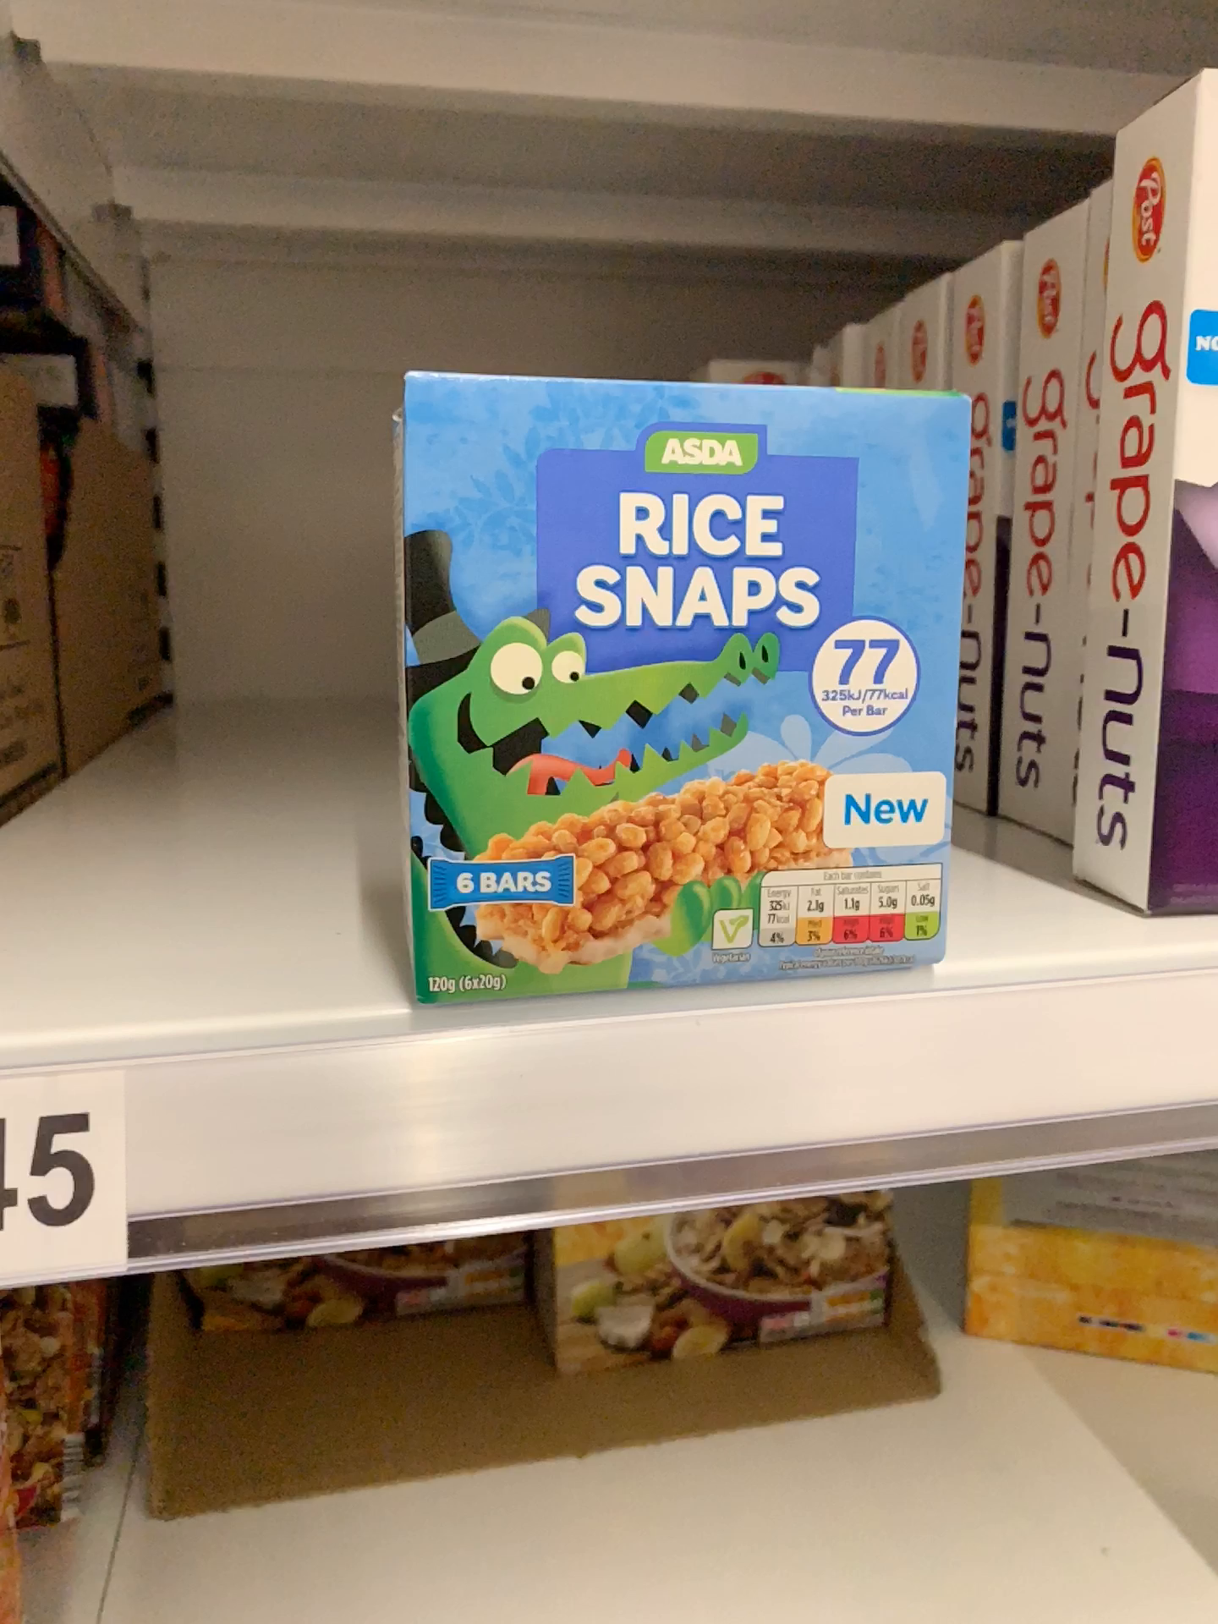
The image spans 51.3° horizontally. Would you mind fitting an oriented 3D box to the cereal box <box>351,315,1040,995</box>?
[{"bbox_3d":[0.016,-0.034,0.284,0.140,0.130,0.050,-2,10,-14],"label":"cereal box"}]
